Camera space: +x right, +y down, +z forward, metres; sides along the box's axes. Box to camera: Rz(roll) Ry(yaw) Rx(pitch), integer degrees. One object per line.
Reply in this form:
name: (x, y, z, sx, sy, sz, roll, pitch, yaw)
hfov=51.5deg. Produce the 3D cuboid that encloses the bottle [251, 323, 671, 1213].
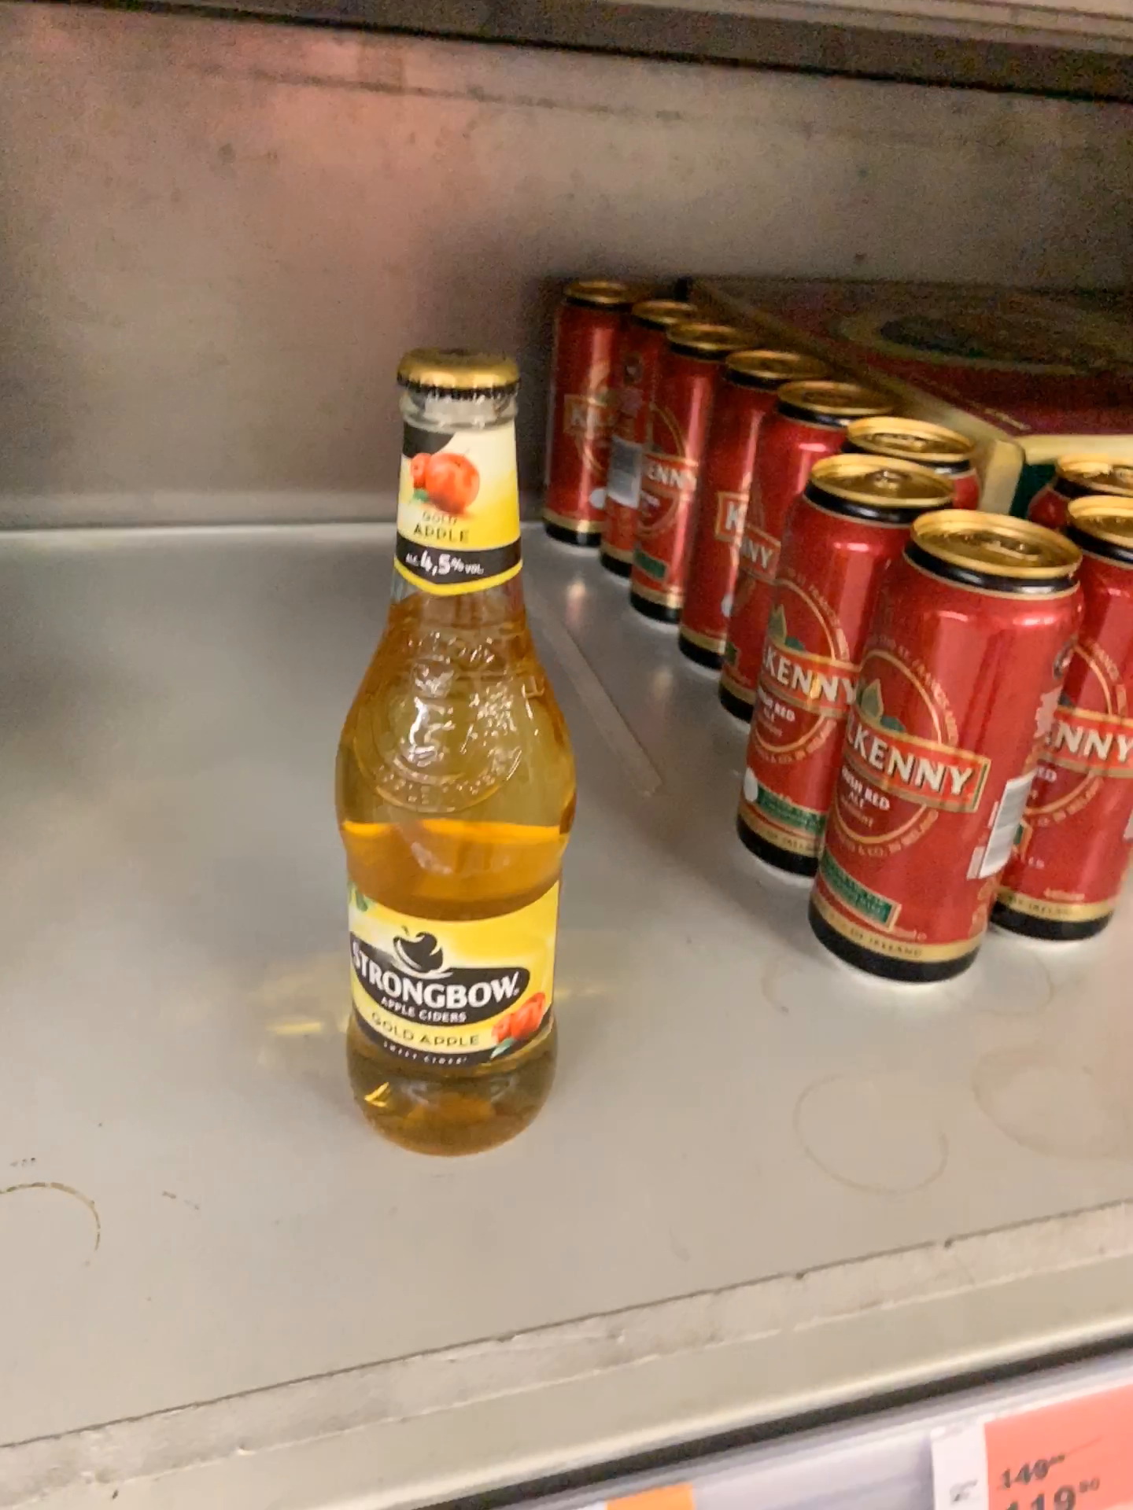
bottle: (-0.030, 0.010, 0.343, 0.080, 0.239, 0.080, 4, 29, -2)
